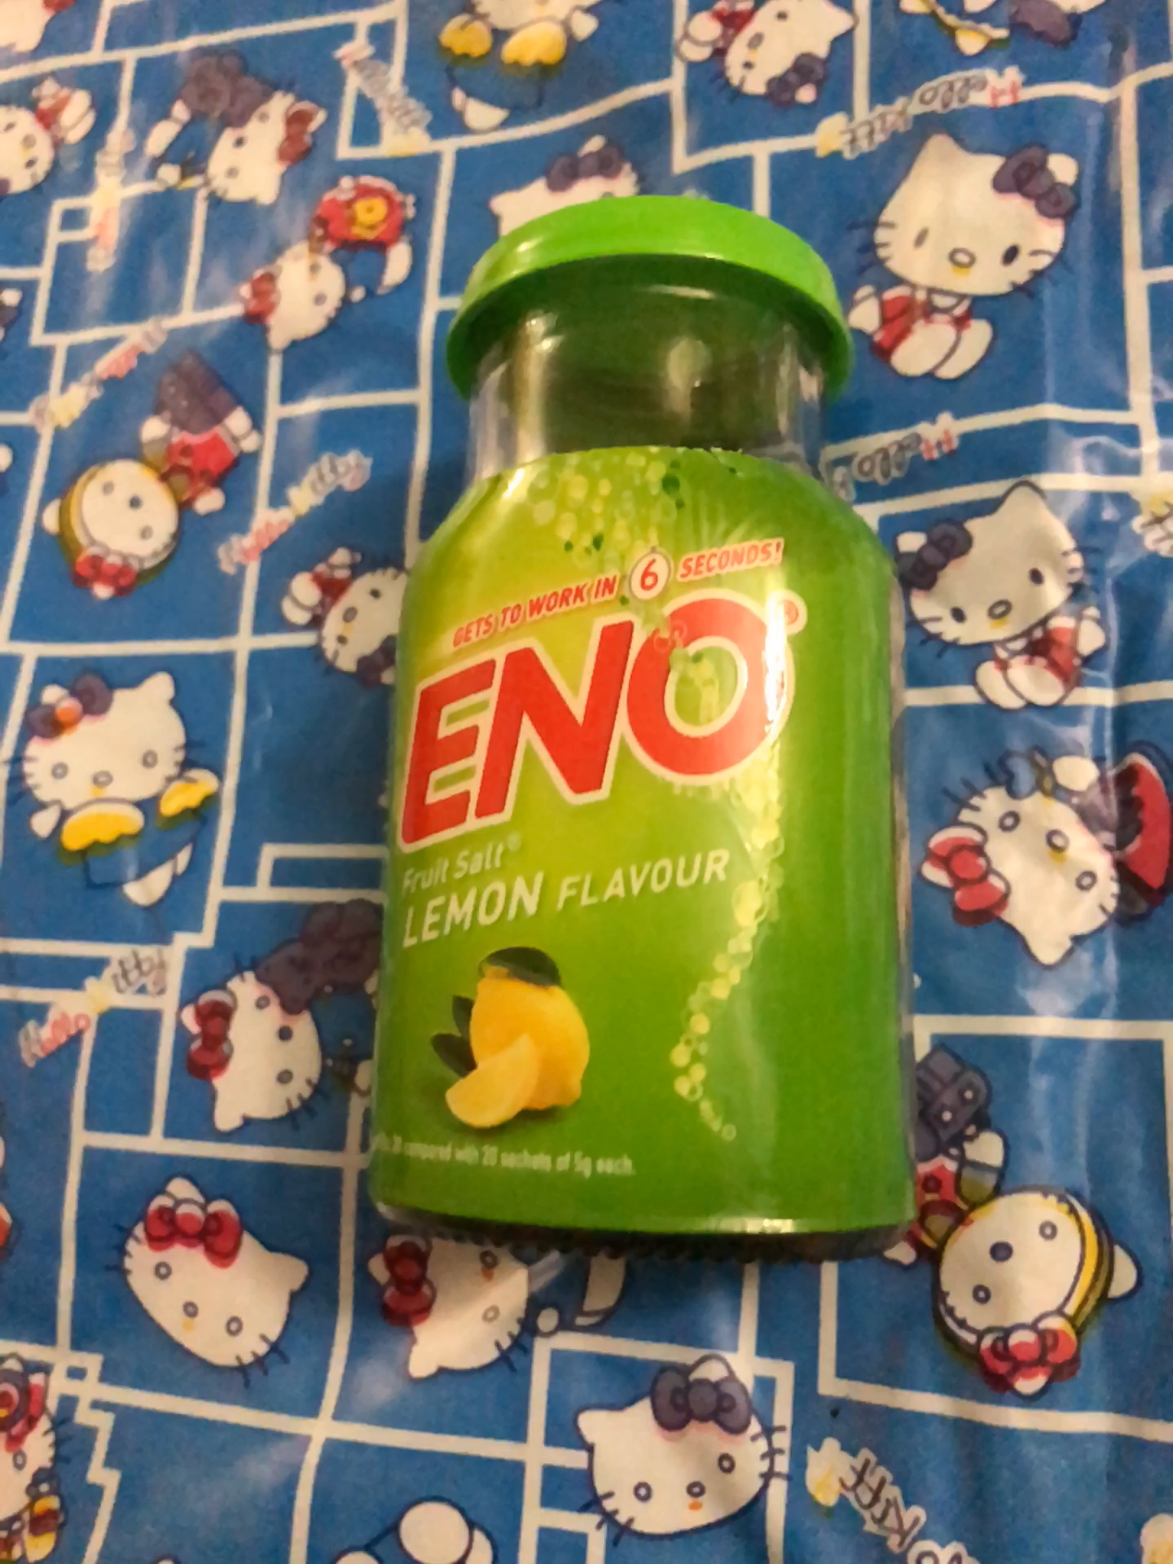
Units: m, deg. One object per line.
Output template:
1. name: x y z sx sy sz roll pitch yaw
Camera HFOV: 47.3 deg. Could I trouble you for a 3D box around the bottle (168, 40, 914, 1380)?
1. bottle: 0.000 -0.005 0.141 0.060 0.050 0.110 -2 81 19
